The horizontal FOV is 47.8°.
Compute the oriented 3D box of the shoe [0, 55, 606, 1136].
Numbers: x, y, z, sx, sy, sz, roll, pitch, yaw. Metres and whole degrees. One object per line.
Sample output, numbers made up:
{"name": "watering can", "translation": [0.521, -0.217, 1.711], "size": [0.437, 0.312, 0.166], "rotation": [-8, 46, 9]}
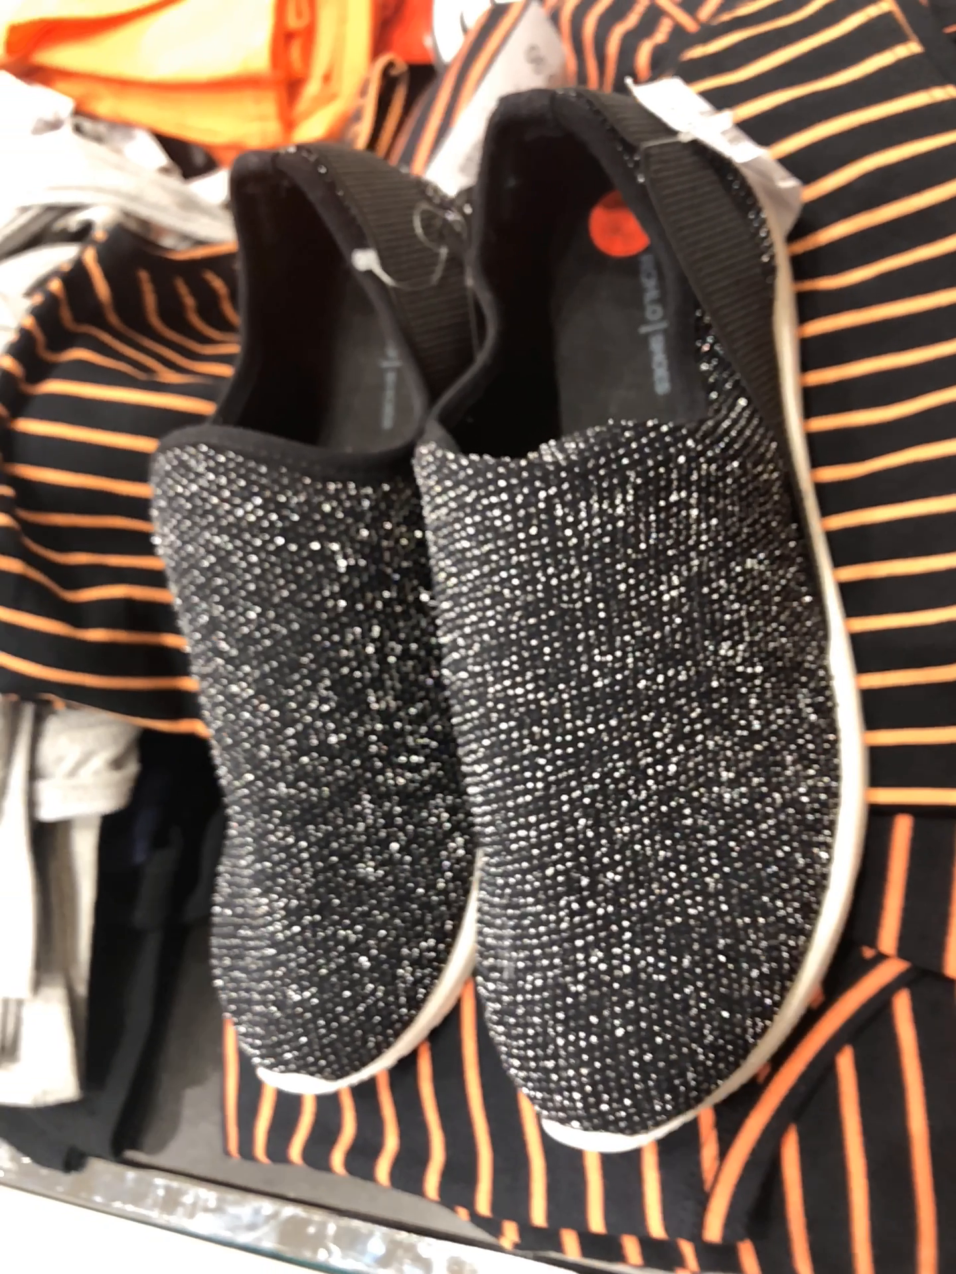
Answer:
{"name": "shoe", "translation": [-0.040, -0.008, 0.289], "size": [0.100, 0.110, 0.240], "rotation": [-2, 69, 25]}

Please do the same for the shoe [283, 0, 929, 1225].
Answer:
{"name": "shoe", "translation": [0.044, -0.009, 0.258], "size": [0.100, 0.110, 0.240], "rotation": [-4, 68, 24]}
